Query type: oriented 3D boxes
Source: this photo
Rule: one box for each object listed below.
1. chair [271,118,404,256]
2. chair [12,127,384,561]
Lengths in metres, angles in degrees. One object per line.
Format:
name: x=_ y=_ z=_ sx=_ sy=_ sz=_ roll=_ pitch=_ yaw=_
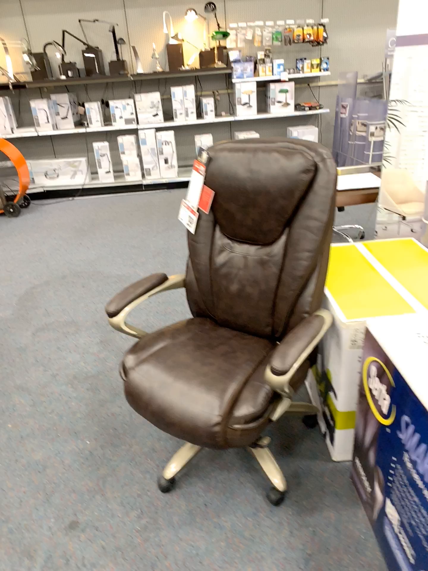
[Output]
chair: x=0.902 y=-0.808 z=3.471 sx=0.824 sy=0.856 sz=0.795 roll=-2 pitch=27 yaw=4
chair: x=0.020 y=0.085 z=1.581 sx=0.782 sy=1.104 sz=0.847 roll=17 pitch=35 yaw=36
